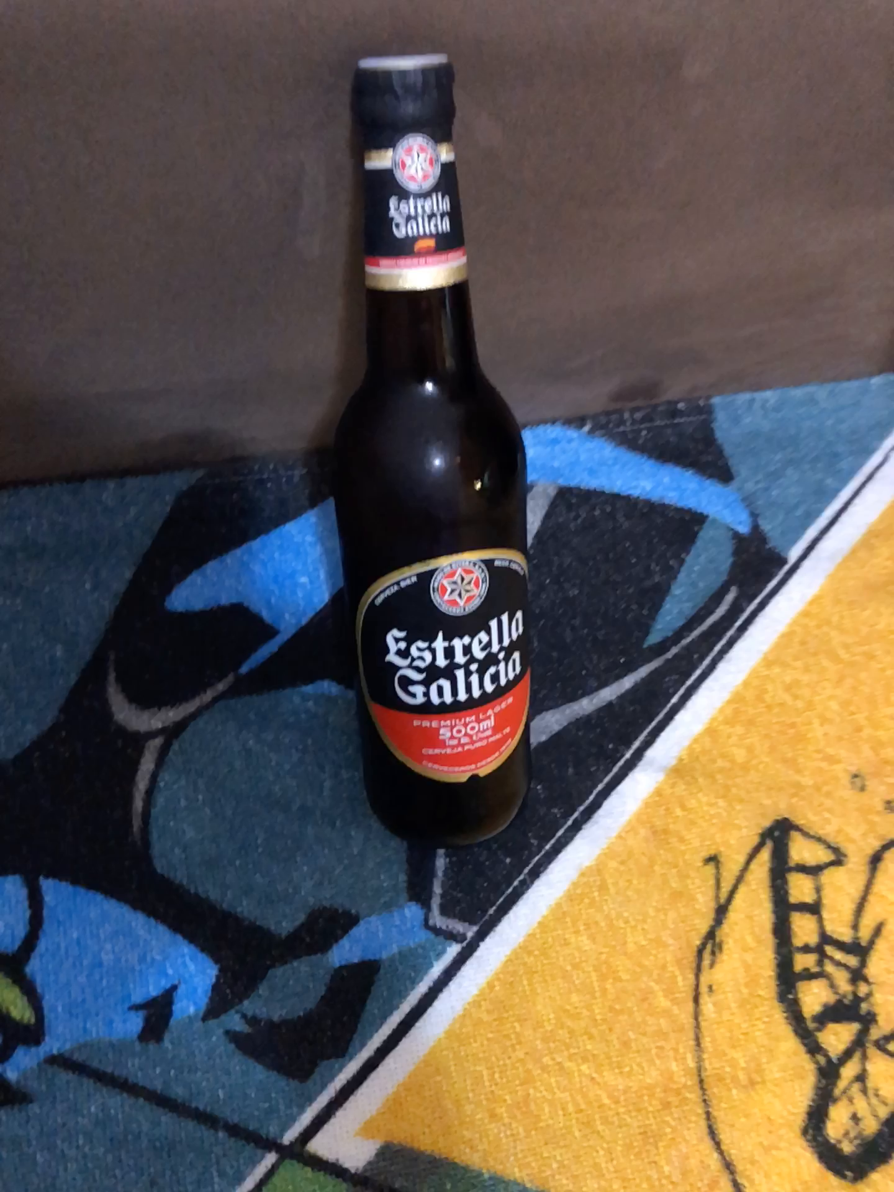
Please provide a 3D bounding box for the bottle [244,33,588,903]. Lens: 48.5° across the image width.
[{"bbox_3d":[-0.006,-0.033,0.337,0.080,0.269,0.080,-3,27,1],"label":"bottle"}]
